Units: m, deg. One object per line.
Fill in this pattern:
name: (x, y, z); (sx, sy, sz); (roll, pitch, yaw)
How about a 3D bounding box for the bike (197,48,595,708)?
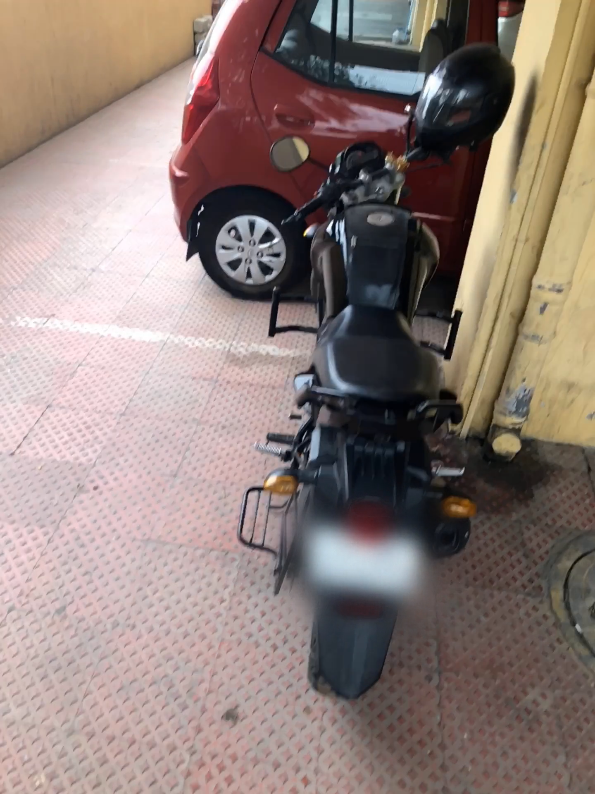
bike: (0.093, -0.264, 1.990); (0.609, 1.051, 1.810); (2, 38, -3)
